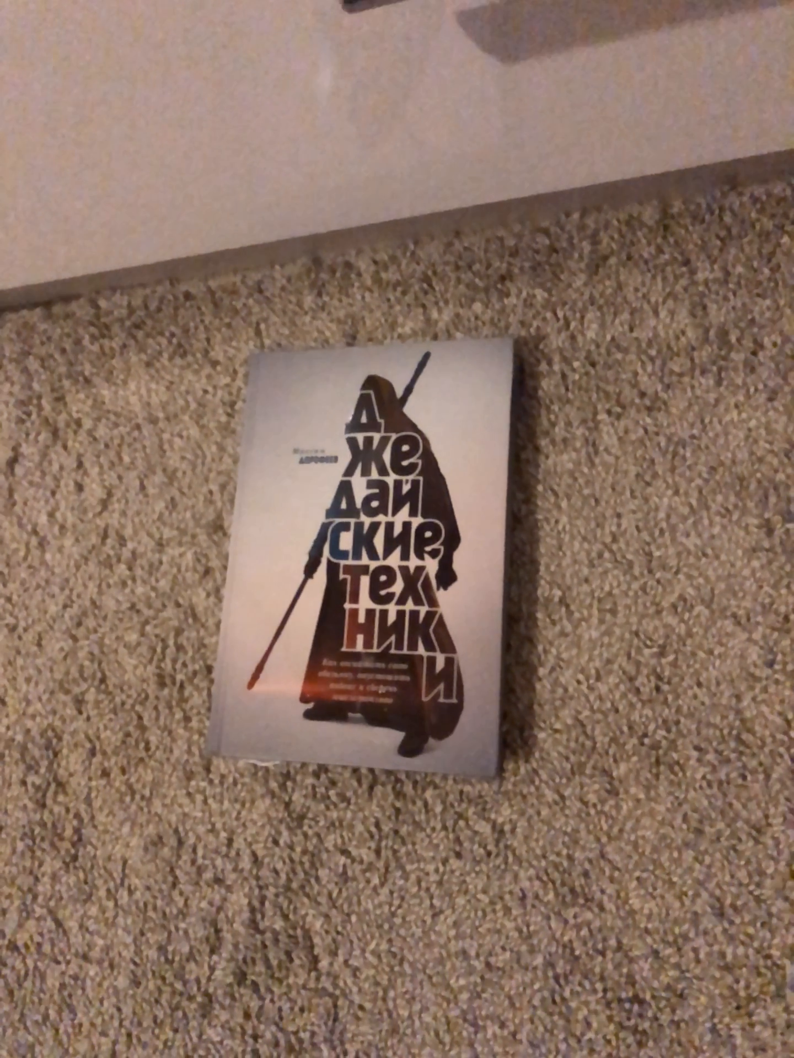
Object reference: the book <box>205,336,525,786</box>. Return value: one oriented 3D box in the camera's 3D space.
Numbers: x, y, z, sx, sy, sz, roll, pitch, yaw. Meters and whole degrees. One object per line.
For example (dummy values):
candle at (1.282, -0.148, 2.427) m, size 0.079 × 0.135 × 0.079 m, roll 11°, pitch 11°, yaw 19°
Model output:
book at (-0.014, 0.012, 0.457) m, size 0.150 × 0.026 × 0.221 m, roll 0°, pitch 77°, yaw 17°
